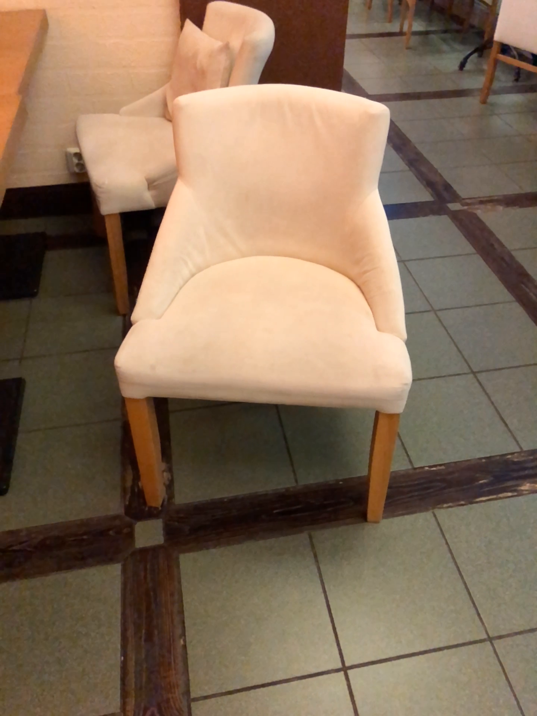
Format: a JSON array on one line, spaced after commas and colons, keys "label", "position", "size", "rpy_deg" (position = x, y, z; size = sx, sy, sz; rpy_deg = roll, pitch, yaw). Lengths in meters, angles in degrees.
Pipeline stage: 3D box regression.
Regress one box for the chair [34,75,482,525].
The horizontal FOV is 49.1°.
[{"label": "chair", "position": [-0.003, -0.134, 1.317], "size": [0.630, 0.736, 0.664], "rpy_deg": [2, 42, 2]}]
